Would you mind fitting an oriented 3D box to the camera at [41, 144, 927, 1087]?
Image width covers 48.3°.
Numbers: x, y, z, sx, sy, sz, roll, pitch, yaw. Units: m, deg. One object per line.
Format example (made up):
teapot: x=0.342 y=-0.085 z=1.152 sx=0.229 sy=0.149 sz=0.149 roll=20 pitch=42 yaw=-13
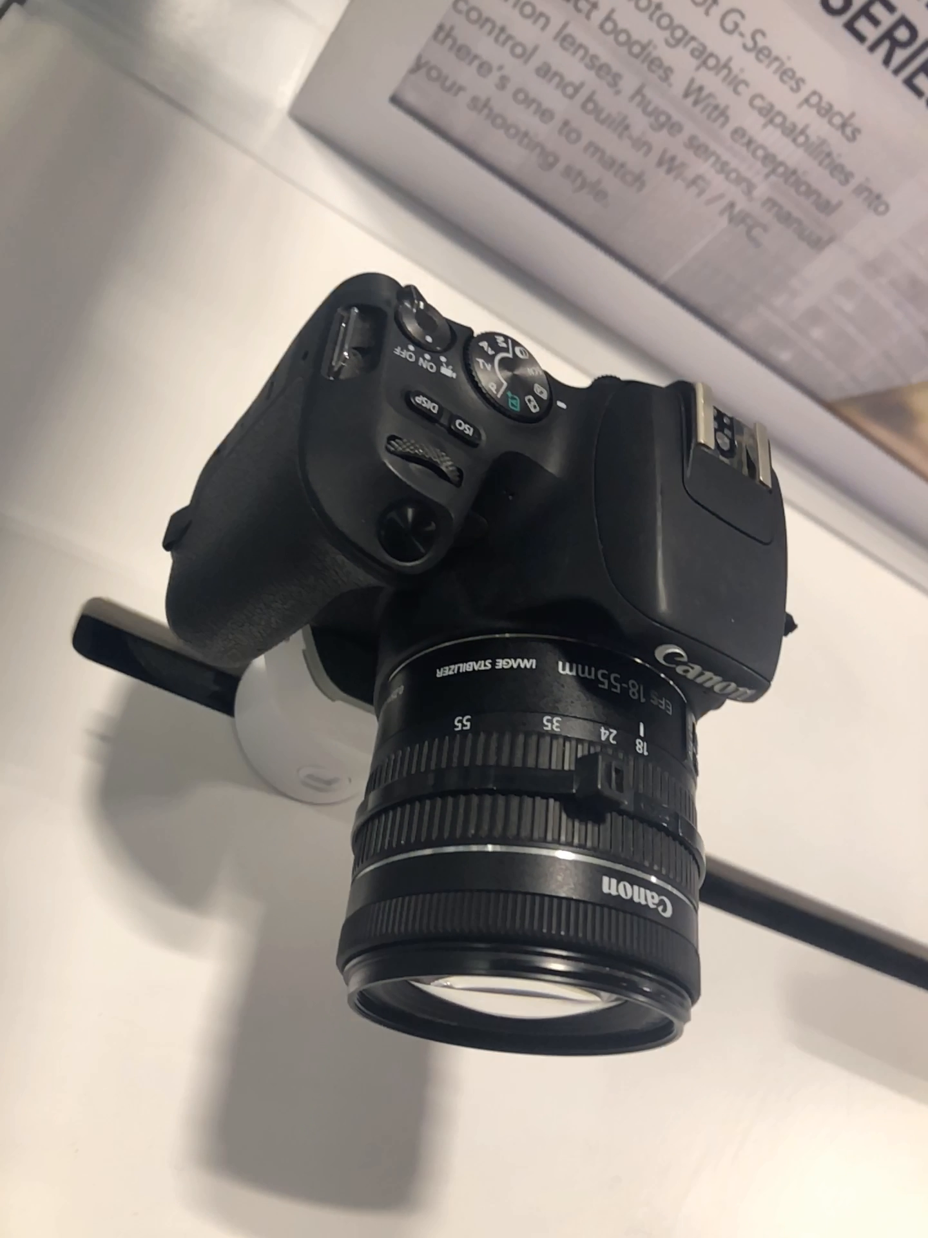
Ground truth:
camera: x=0.012 y=0.013 z=0.197 sx=0.122 sy=0.100 sz=0.110 roll=25 pitch=52 yaw=-24
